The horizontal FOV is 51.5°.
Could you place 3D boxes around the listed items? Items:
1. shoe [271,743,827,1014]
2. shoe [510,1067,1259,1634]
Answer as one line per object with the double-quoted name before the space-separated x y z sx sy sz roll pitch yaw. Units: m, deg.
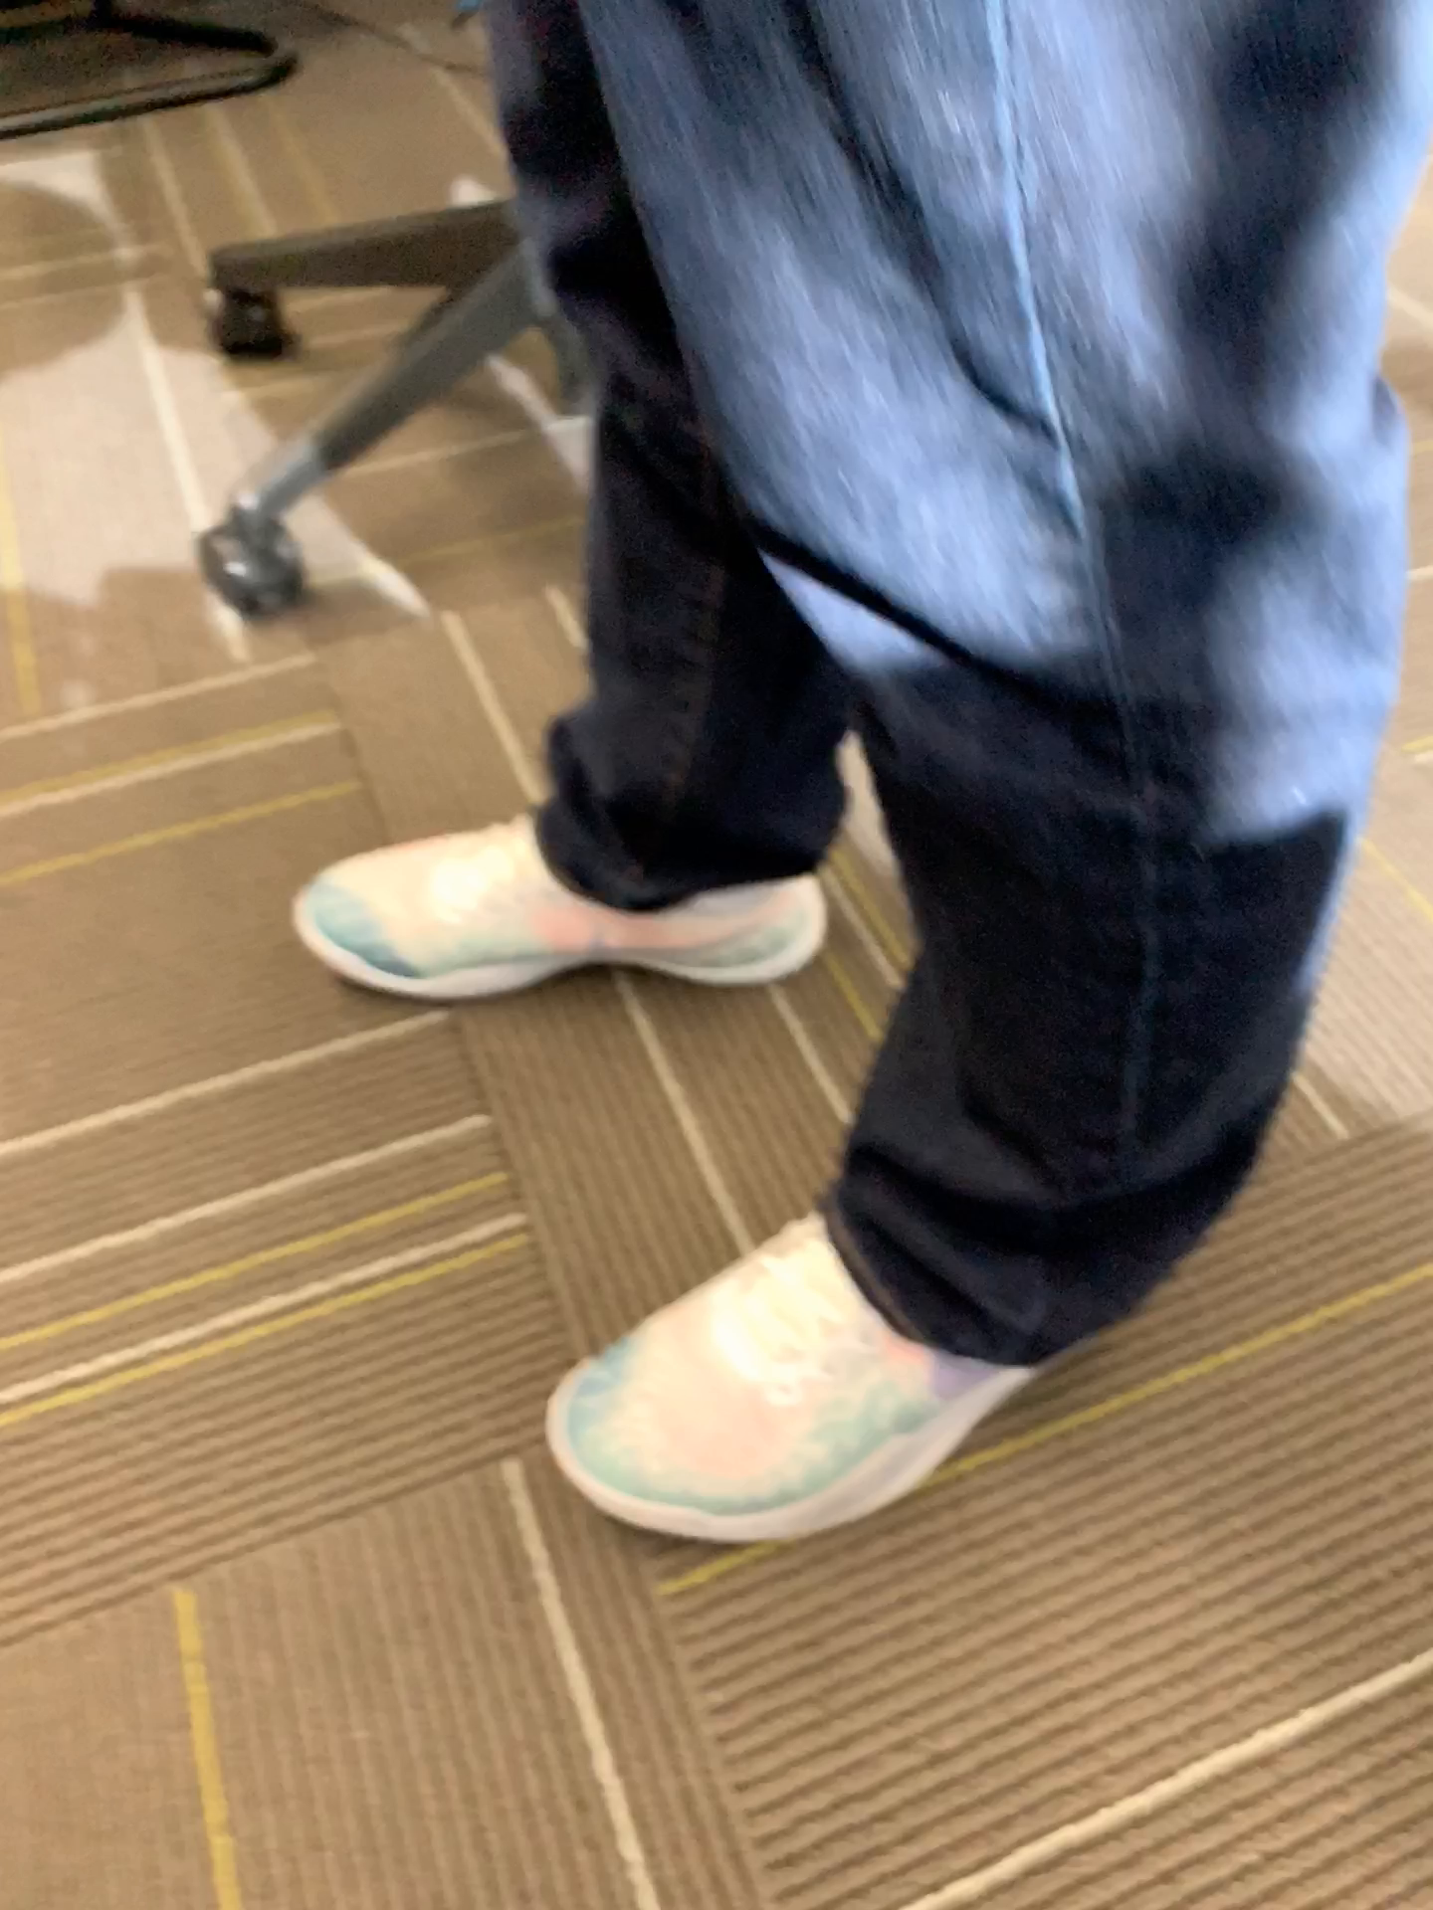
"shoe" -0.084 -0.043 0.825 0.283 0.088 0.118 -1 49 2
"shoe" 0.071 0.165 0.654 0.289 0.078 0.123 -19 50 -14
